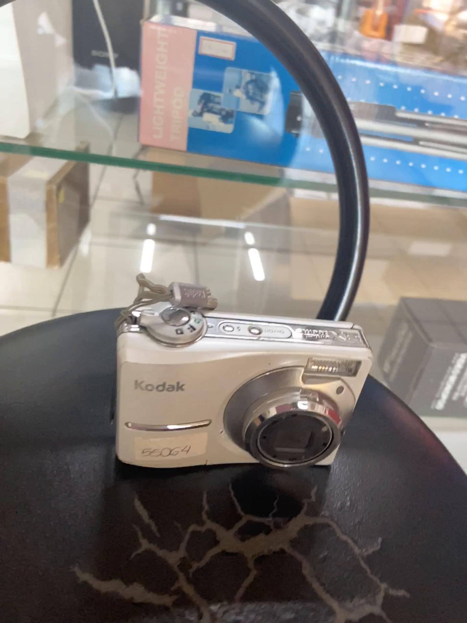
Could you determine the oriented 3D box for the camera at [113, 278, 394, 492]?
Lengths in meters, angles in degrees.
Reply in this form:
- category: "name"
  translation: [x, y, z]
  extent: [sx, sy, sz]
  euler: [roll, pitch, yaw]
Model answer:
- category: "camera"
  translation: [0.001, 0.030, 0.189]
  extent: [0.090, 0.070, 0.040]
  euler: [3, 35, -11]
